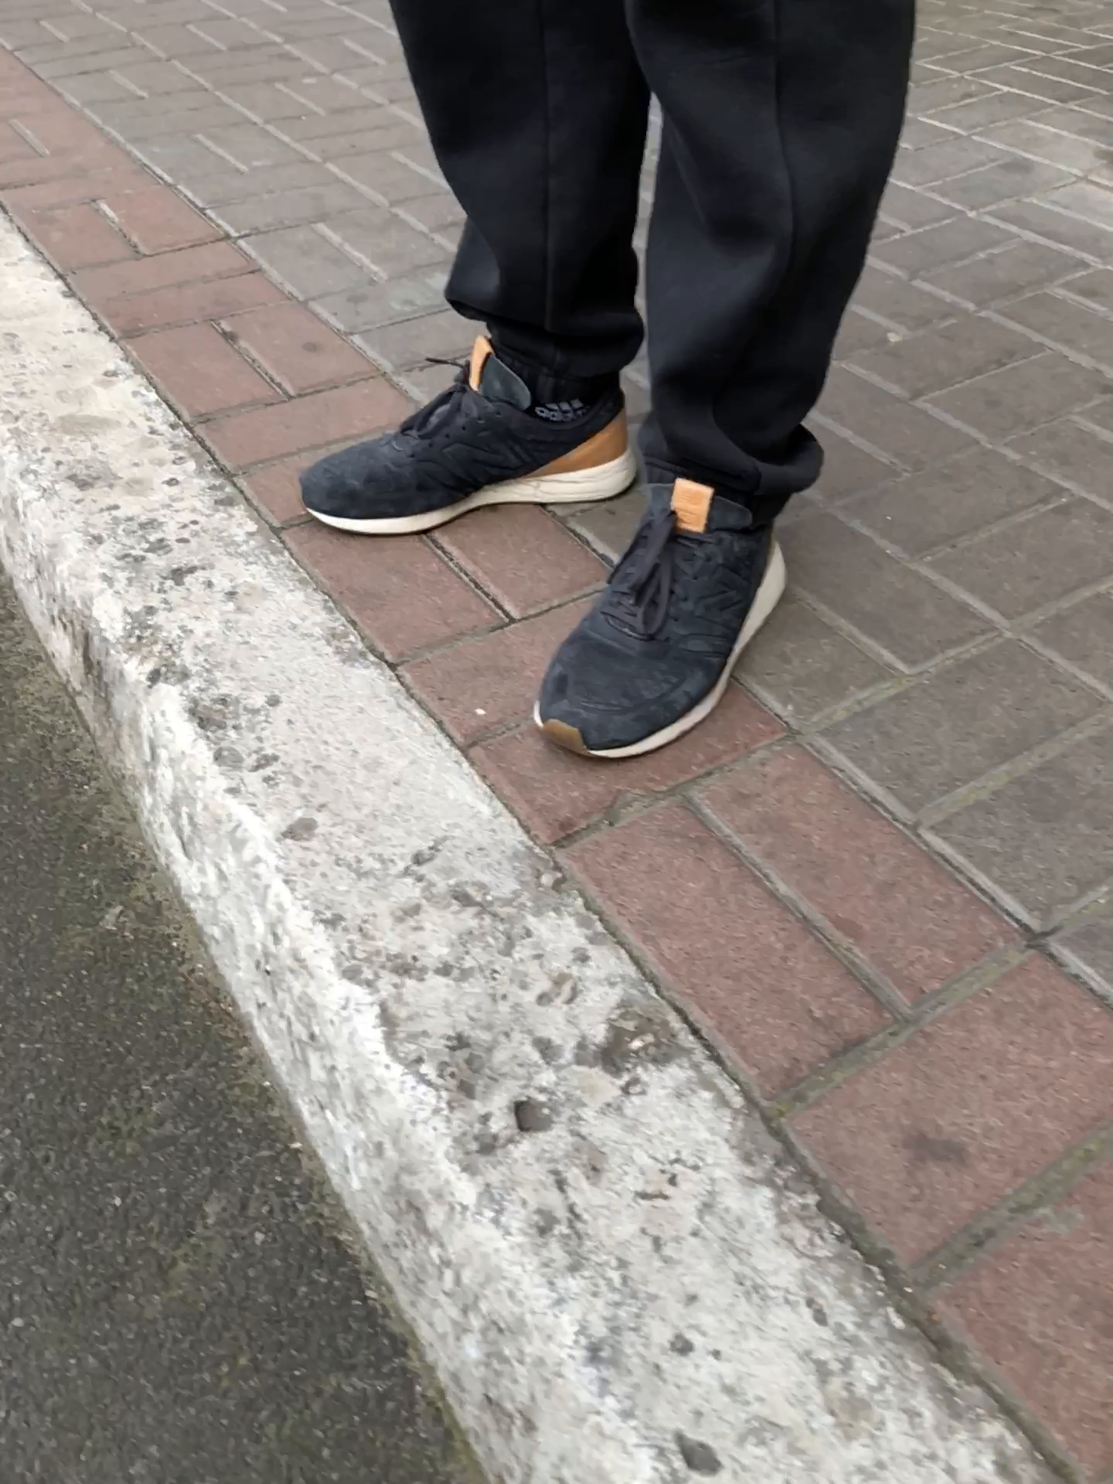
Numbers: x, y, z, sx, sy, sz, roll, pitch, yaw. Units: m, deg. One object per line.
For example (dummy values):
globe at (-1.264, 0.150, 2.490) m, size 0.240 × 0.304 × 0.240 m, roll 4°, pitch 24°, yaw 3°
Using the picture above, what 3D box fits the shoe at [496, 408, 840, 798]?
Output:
shoe at (0.080, -0.104, 0.807) m, size 0.104 × 0.109 × 0.282 m, roll 22°, pitch 45°, yaw 21°

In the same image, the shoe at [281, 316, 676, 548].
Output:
shoe at (-0.061, -0.247, 0.955) m, size 0.280 × 0.109 × 0.105 m, roll -11°, pitch 43°, yaw -15°
